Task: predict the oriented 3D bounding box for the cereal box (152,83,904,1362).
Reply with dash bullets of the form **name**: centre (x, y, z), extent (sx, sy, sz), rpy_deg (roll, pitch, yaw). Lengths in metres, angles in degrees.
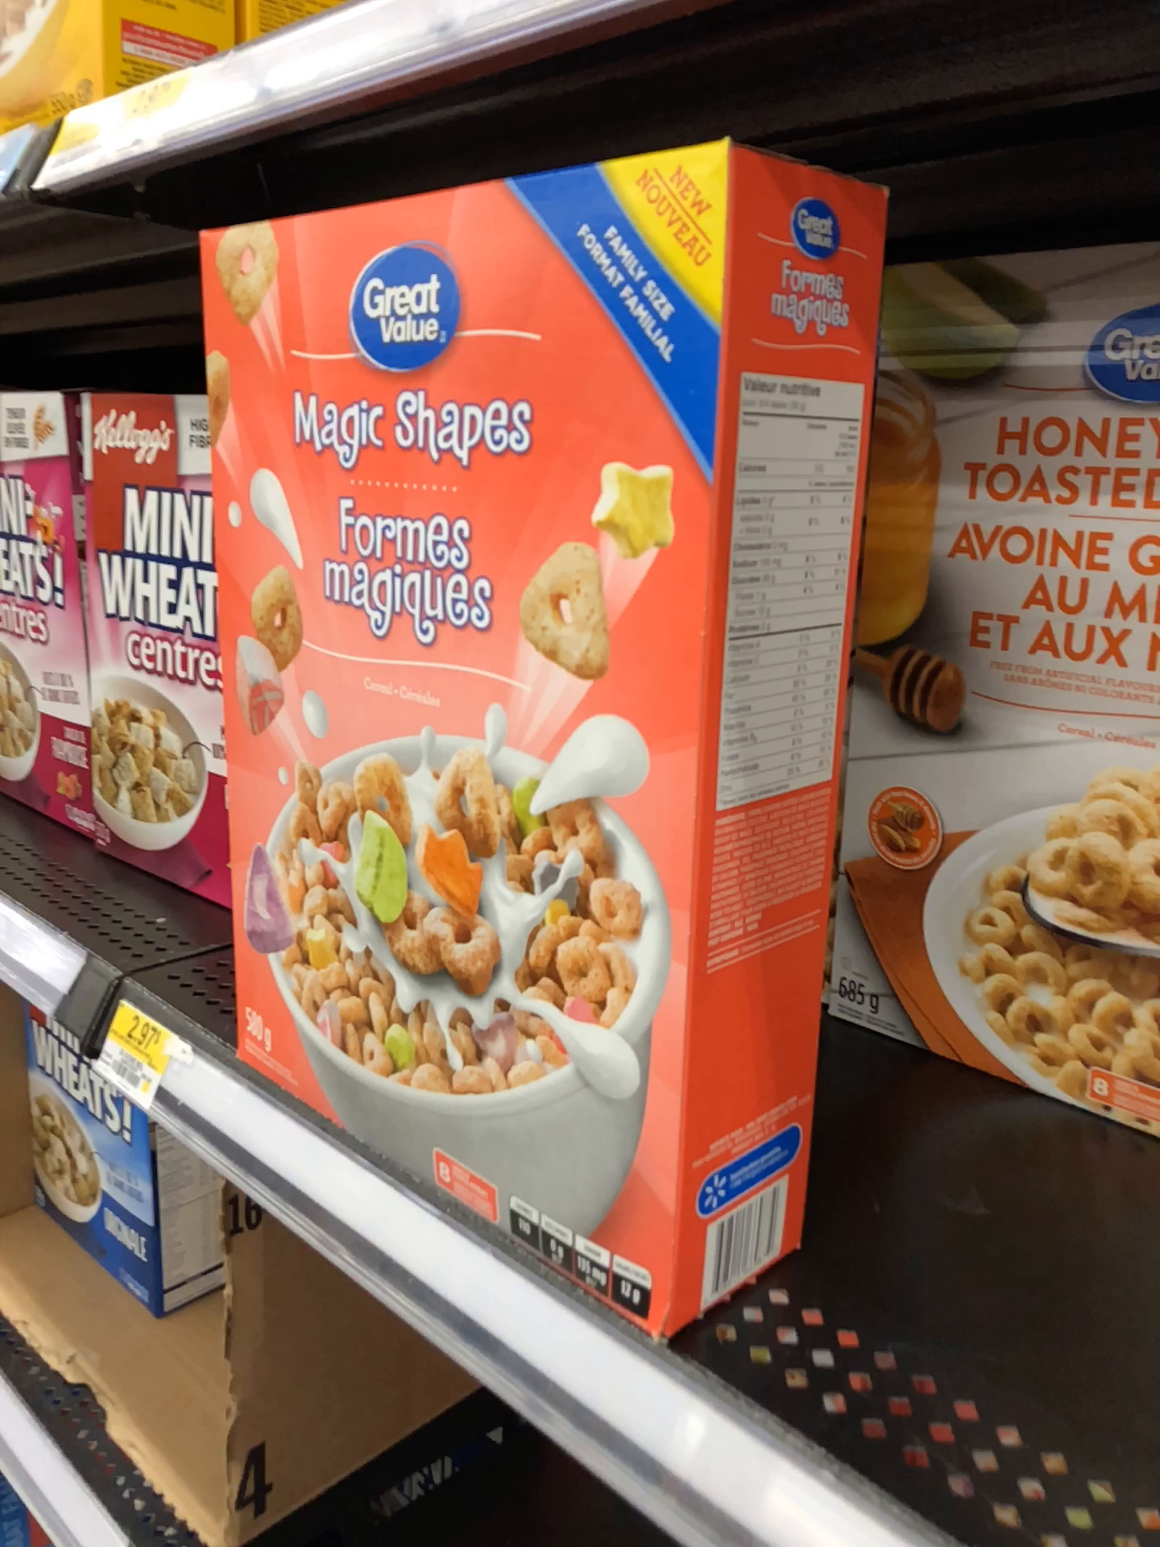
- **cereal box**: centre (-0.035, -0.024, 0.424), extent (0.070, 0.318, 0.261), rpy_deg (-14, 20, -43)
